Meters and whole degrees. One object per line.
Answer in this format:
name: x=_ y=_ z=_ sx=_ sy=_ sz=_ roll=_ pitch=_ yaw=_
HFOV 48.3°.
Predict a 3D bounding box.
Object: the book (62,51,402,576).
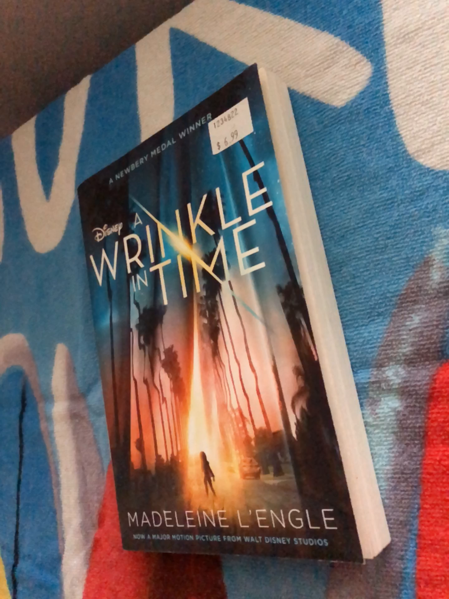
book: x=-0.012 y=0.013 z=0.235 sx=0.138 sy=0.031 sz=0.195 roll=-18 pitch=78 yaw=38
